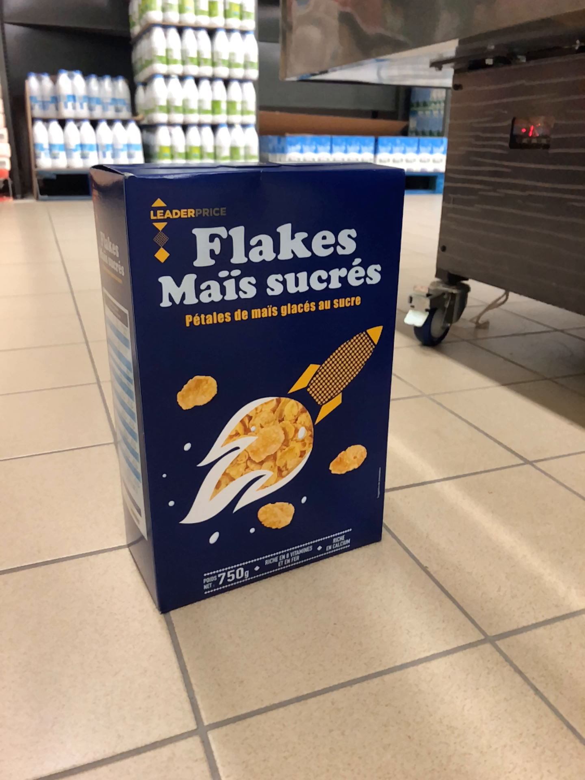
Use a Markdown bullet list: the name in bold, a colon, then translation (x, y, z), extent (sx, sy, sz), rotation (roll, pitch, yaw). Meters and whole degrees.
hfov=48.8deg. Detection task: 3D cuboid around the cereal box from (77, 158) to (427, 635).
- **cereal box**: translation (-0.029, -0.007, 0.480), extent (0.211, 0.309, 0.100), rotation (-8, 21, -24)
